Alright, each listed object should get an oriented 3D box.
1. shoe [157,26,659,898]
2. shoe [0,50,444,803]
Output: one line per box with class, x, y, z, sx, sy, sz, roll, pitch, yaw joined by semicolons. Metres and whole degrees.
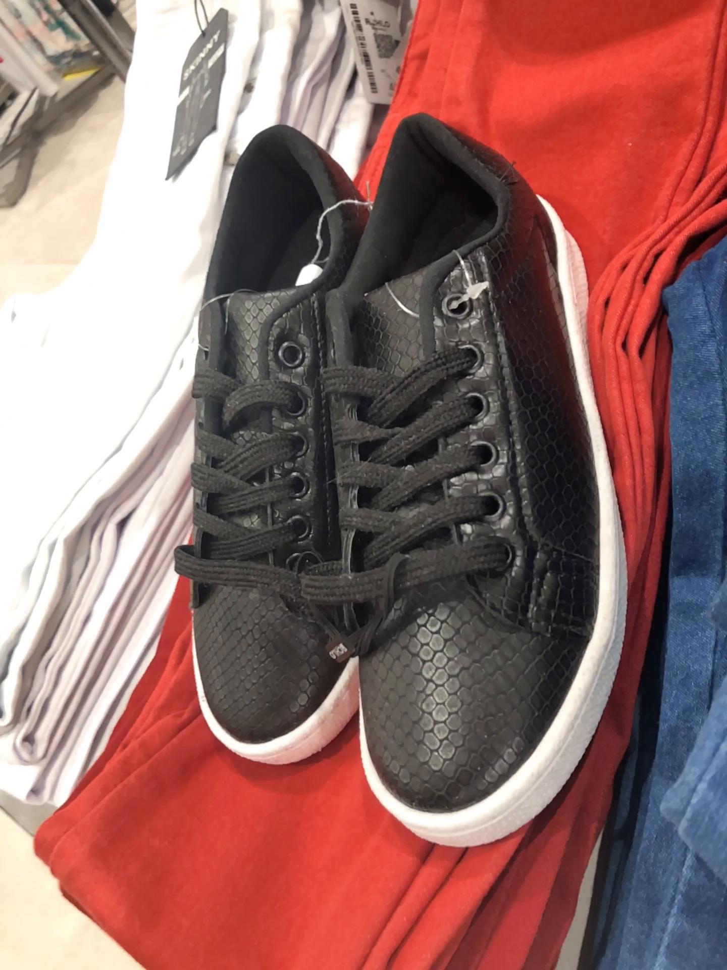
shoe;0.033;-0.016;0.264;0.090;0.099;0.251;-10;54;29
shoe;-0.040;-0.018;0.312;0.090;0.099;0.251;-2;71;28
